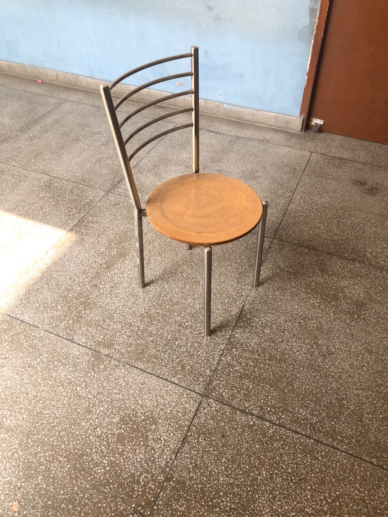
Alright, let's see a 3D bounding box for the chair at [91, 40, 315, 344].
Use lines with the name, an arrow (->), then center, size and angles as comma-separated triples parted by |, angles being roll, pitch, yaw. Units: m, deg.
chair -> 0.030, -0.198, 1.383 | 0.421, 0.777, 0.421 | 28, 50, 27
